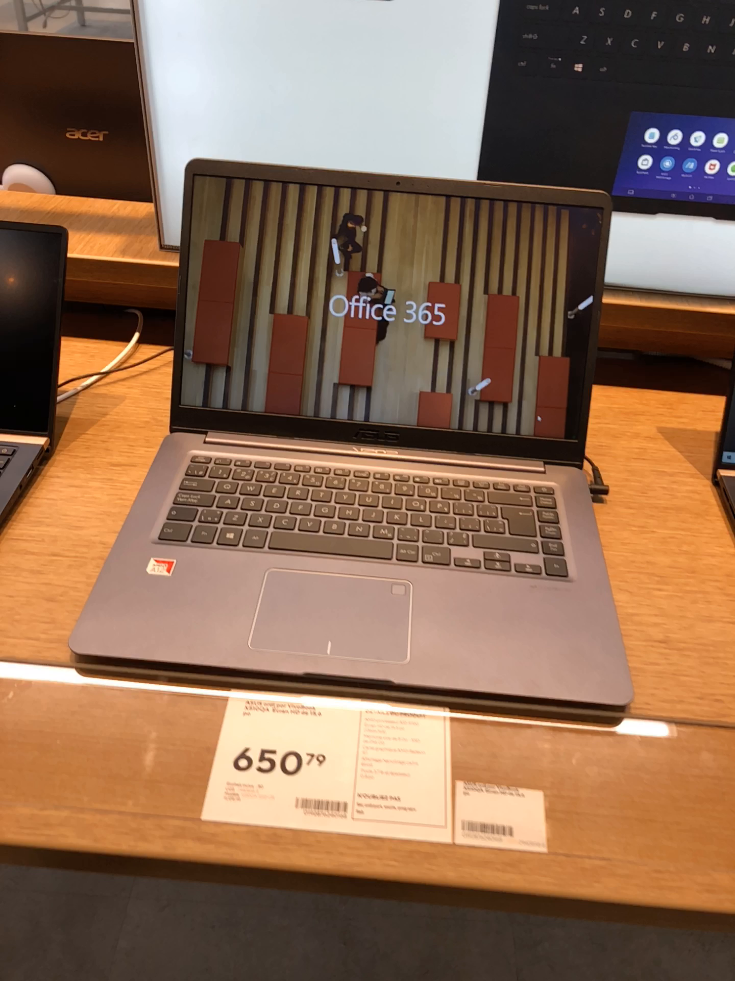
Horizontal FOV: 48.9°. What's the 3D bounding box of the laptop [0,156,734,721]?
[{"bbox_3d":[0.008,-0.071,0.588,0.352,0.177,0.392,5,40,1],"label":"laptop"}]
